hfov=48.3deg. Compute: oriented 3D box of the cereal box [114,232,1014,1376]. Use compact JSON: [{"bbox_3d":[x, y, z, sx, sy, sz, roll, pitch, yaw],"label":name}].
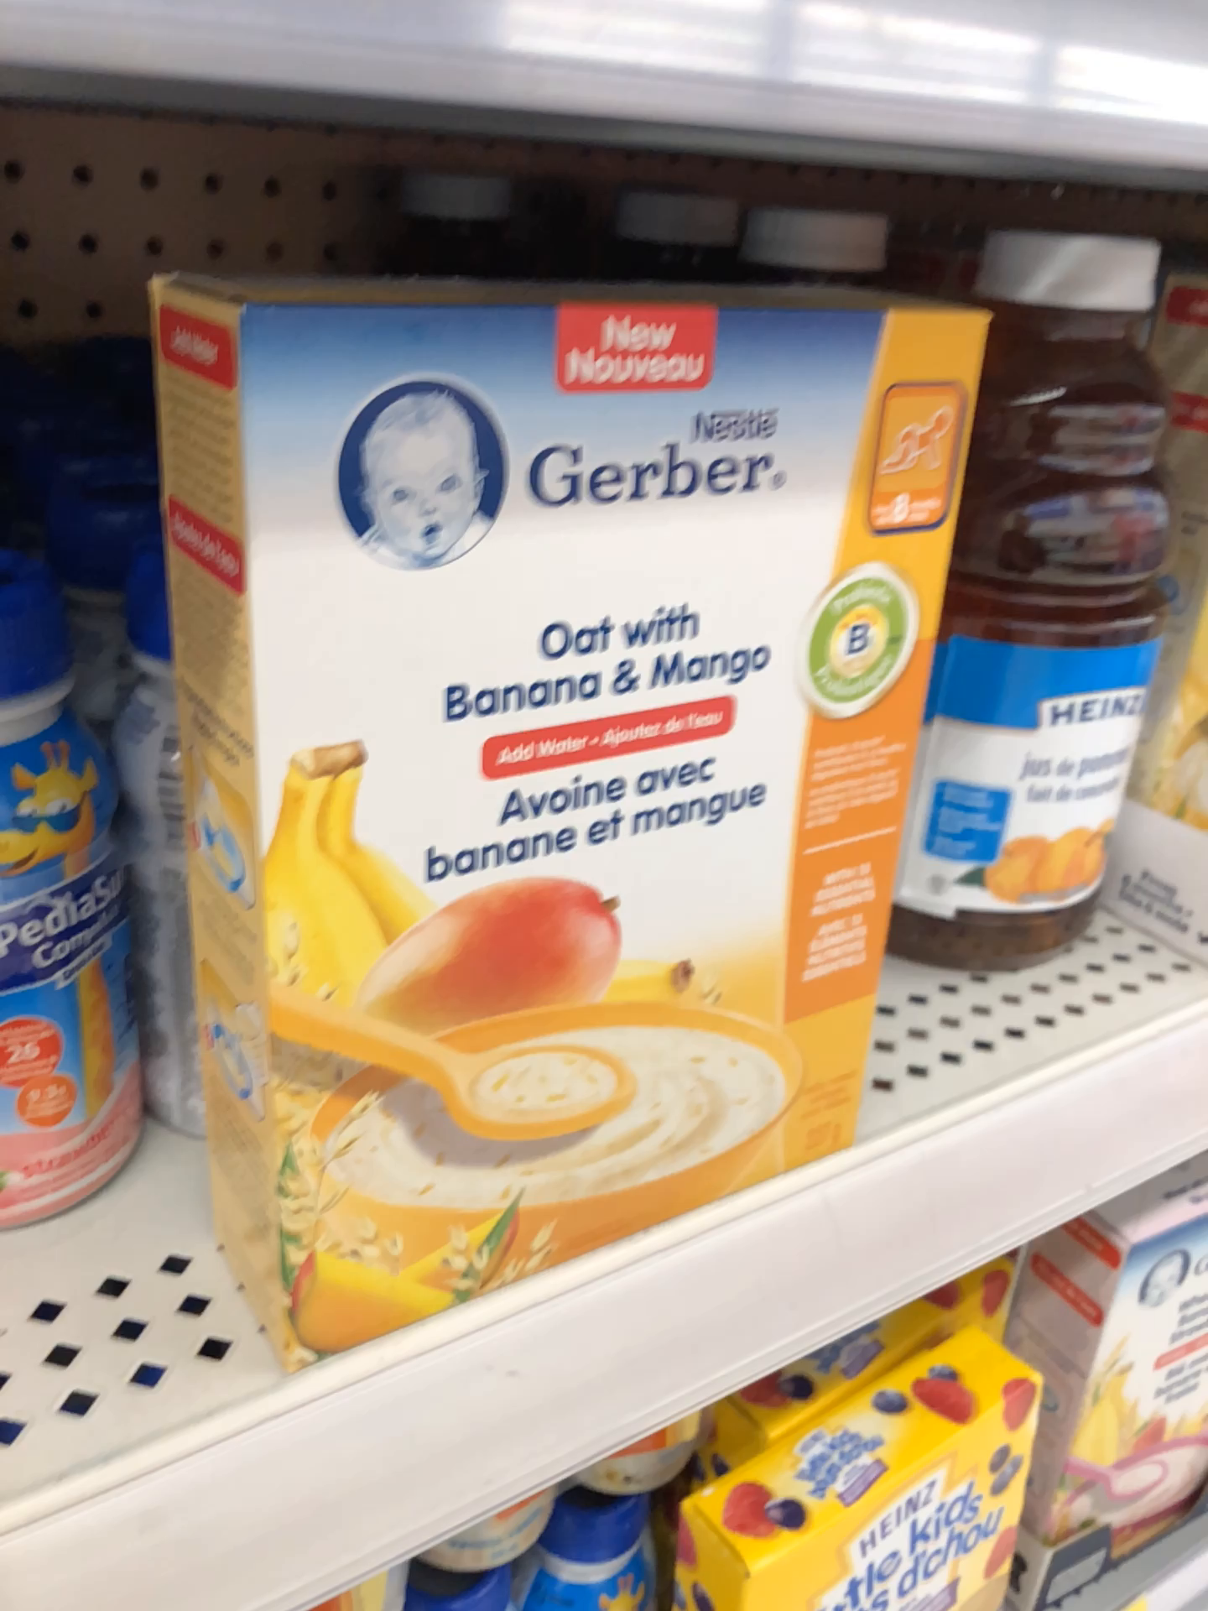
[{"bbox_3d":[-0.007,-0.002,0.261,0.150,0.189,0.040,-11,29,-32],"label":"cereal box"}]
